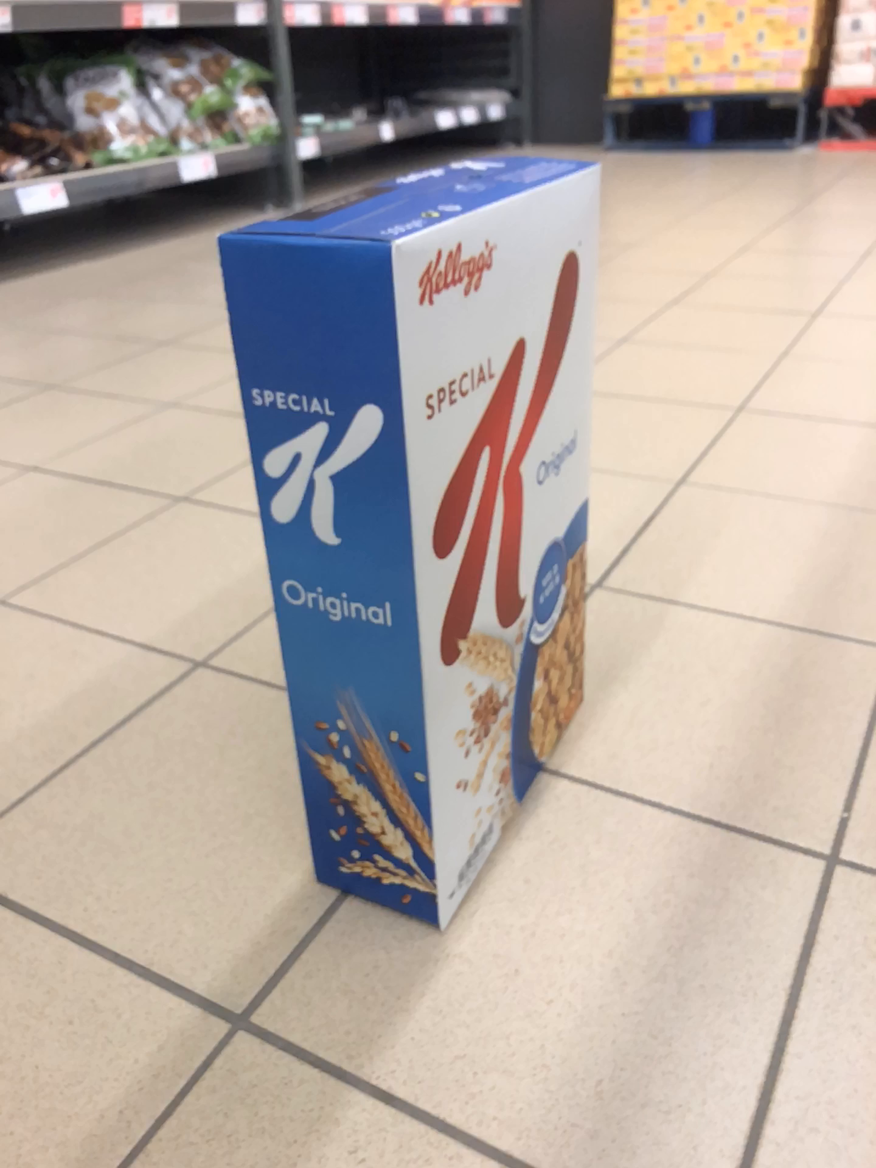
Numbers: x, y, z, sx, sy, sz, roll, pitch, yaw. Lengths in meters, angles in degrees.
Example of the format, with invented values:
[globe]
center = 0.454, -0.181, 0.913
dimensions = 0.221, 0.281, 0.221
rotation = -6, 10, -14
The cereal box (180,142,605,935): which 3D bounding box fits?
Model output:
[cereal box]
center = 0.004, -0.031, 0.452
dimensions = 0.070, 0.298, 0.211
rotation = 11, 31, 26
